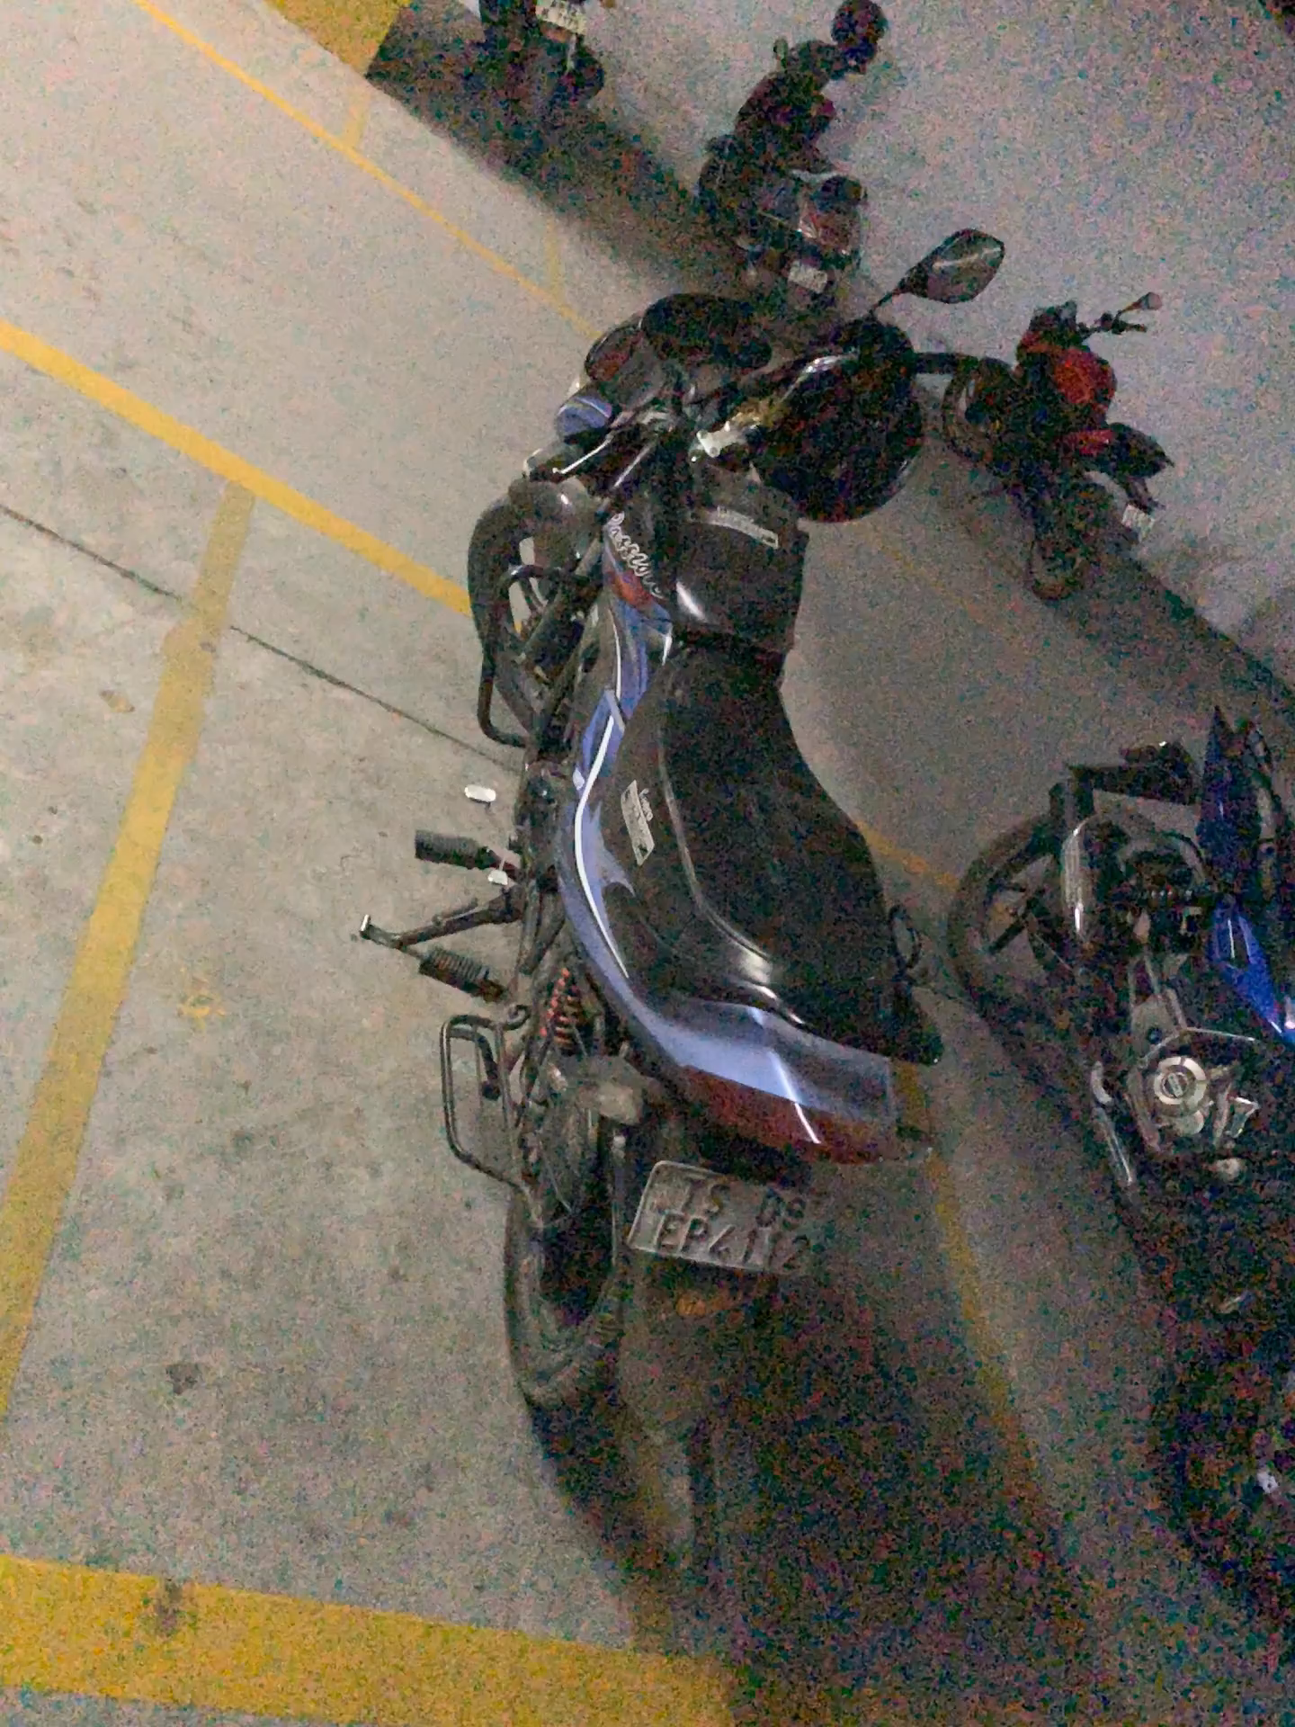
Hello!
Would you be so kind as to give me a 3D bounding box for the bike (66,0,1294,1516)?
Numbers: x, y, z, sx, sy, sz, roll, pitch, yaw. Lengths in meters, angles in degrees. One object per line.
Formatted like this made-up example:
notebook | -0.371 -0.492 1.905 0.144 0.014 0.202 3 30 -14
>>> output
bike | -0.106 -0.261 1.808 0.782 1.107 1.705 23 36 -33
